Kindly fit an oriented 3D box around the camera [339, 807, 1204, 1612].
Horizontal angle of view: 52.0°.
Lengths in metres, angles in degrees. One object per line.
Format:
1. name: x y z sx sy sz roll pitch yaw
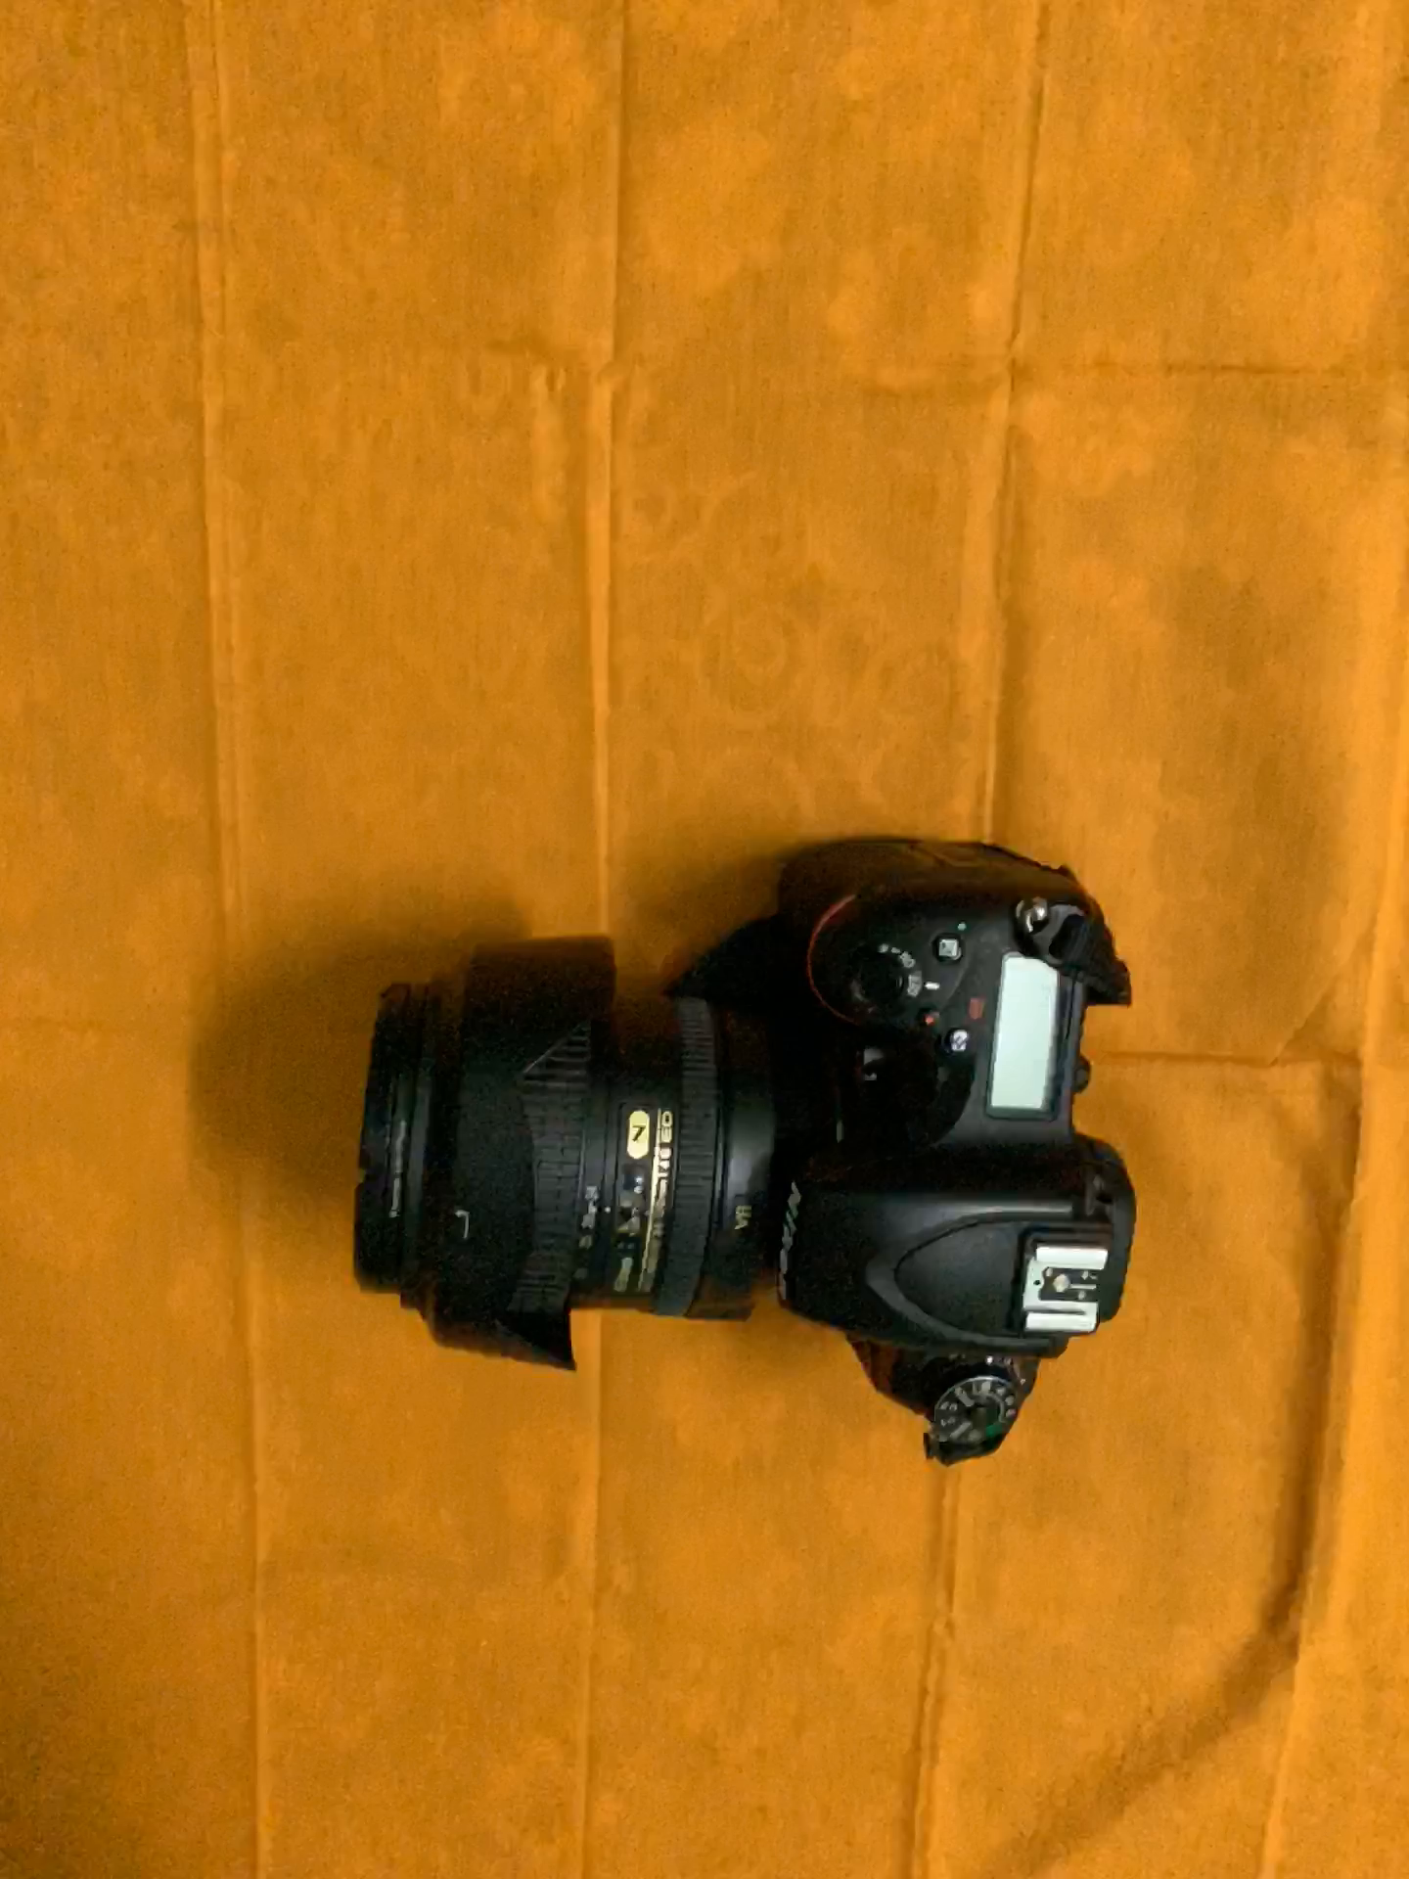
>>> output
1. camera: 0.012 0.054 0.357 0.170 0.110 0.152 5 101 4
